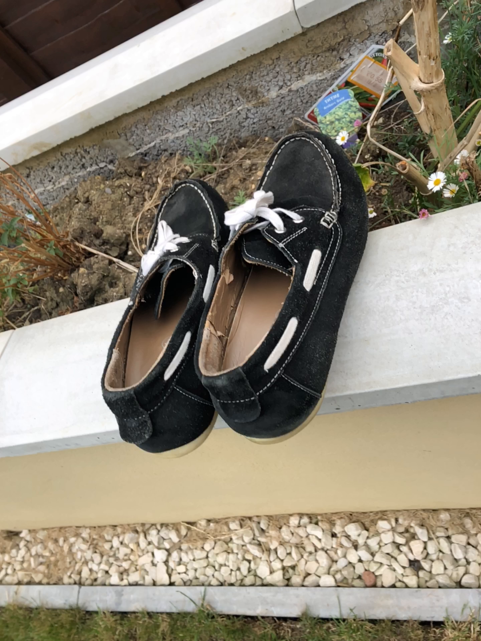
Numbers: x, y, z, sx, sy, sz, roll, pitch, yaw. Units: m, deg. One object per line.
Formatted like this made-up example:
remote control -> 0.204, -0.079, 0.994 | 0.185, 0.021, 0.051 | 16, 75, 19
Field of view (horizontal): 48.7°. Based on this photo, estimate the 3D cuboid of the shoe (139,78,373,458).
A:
shoe -> 0.033, -0.053, 0.419 | 0.110, 0.089, 0.301 | -8, 50, 27

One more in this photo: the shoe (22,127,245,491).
shoe -> -0.072, -0.027, 0.469 | 0.120, 0.089, 0.312 | -18, 46, 21
